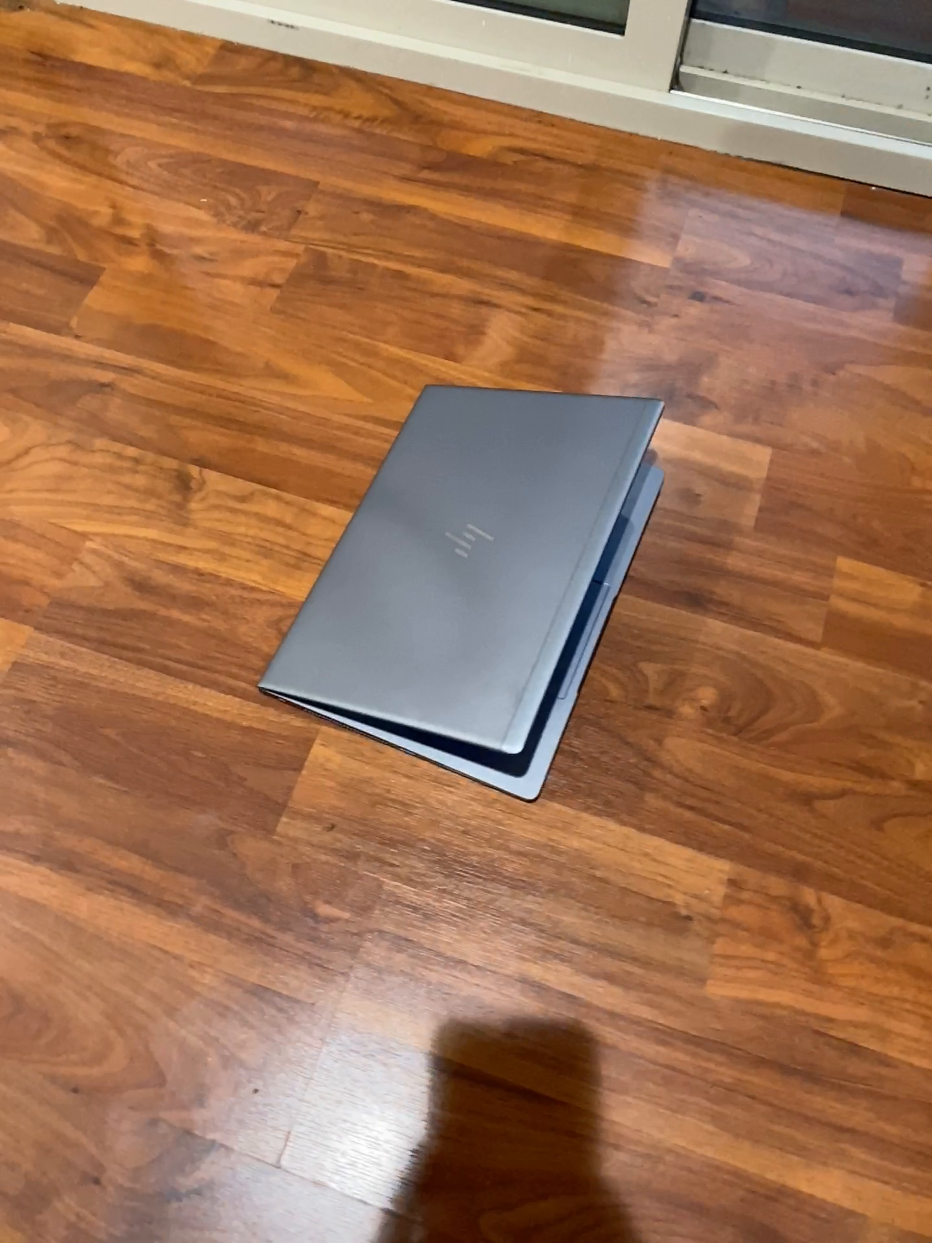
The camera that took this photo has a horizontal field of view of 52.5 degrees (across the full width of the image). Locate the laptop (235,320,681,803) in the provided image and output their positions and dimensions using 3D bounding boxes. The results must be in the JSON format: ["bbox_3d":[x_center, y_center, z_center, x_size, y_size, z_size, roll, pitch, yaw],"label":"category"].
[{"bbox_3d":[0.005,-0.060,0.749,0.230,0.078,0.325,21,66,8],"label":"laptop"}]
